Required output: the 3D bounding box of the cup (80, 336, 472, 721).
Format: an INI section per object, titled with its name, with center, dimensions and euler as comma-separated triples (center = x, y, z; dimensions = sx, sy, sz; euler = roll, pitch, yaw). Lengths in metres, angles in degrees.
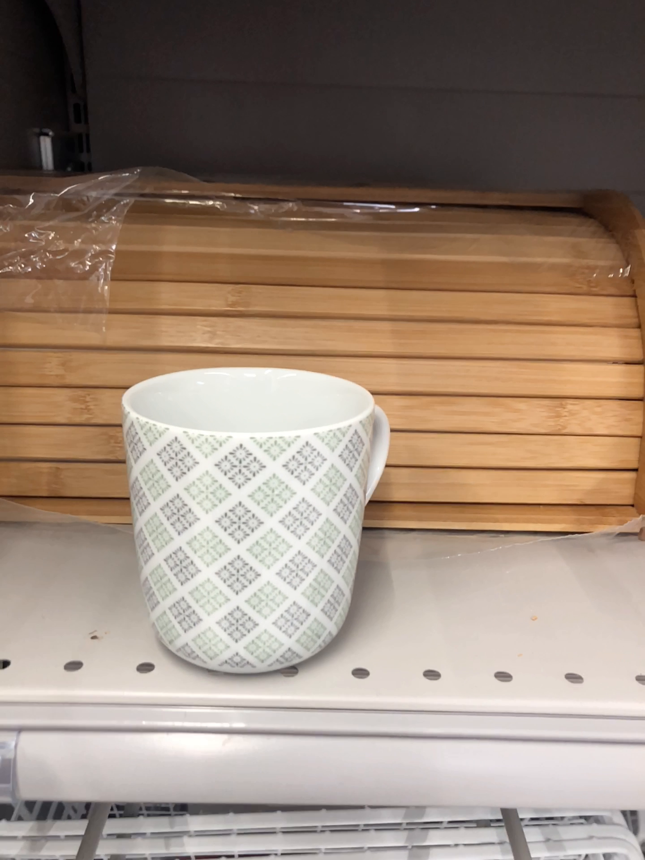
[cup]
center = -0.013, 0.023, 0.274
dimensions = 0.085, 0.090, 0.119
euler = 16, 22, 34
